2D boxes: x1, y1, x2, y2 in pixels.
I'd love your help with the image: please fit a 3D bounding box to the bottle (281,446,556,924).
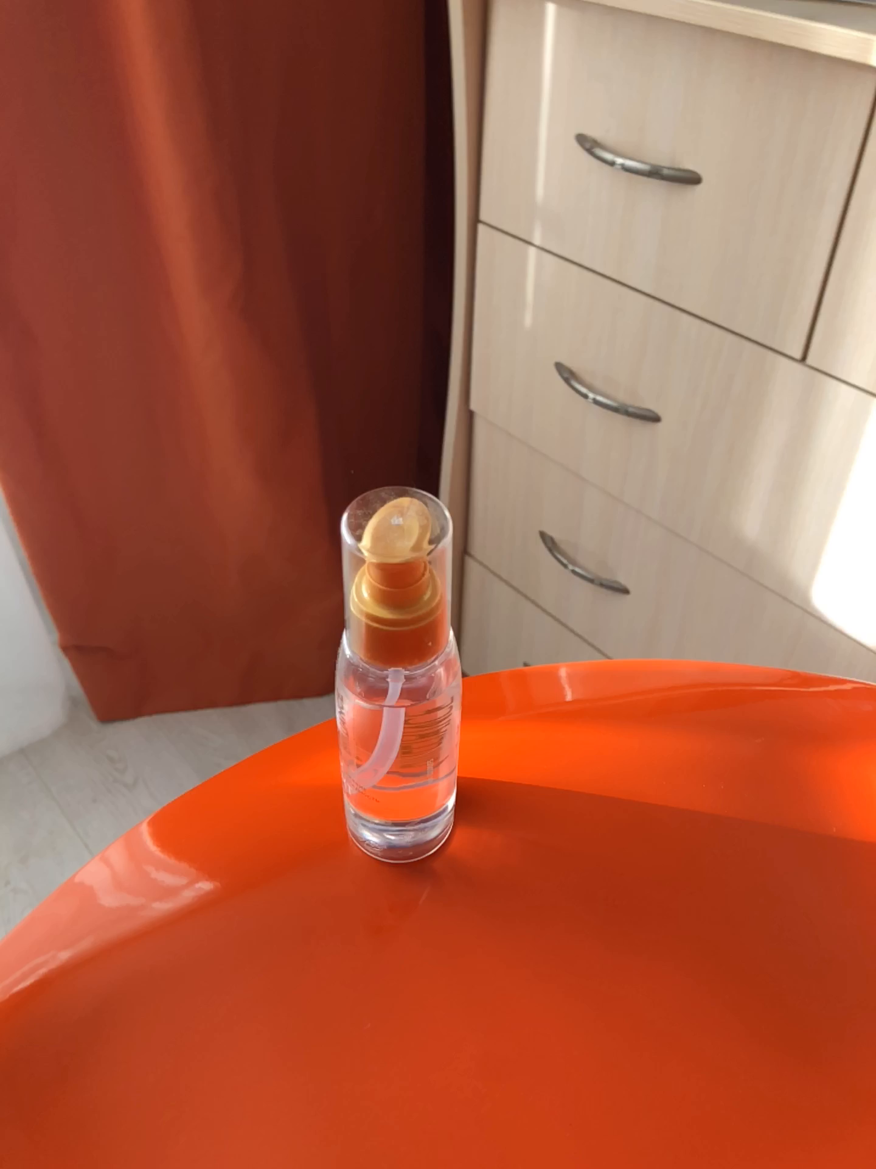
[{"bbox_3d":[-0.008,0.038,0.299,0.050,0.149,0.050,2,46,-2],"label":"bottle"}]
